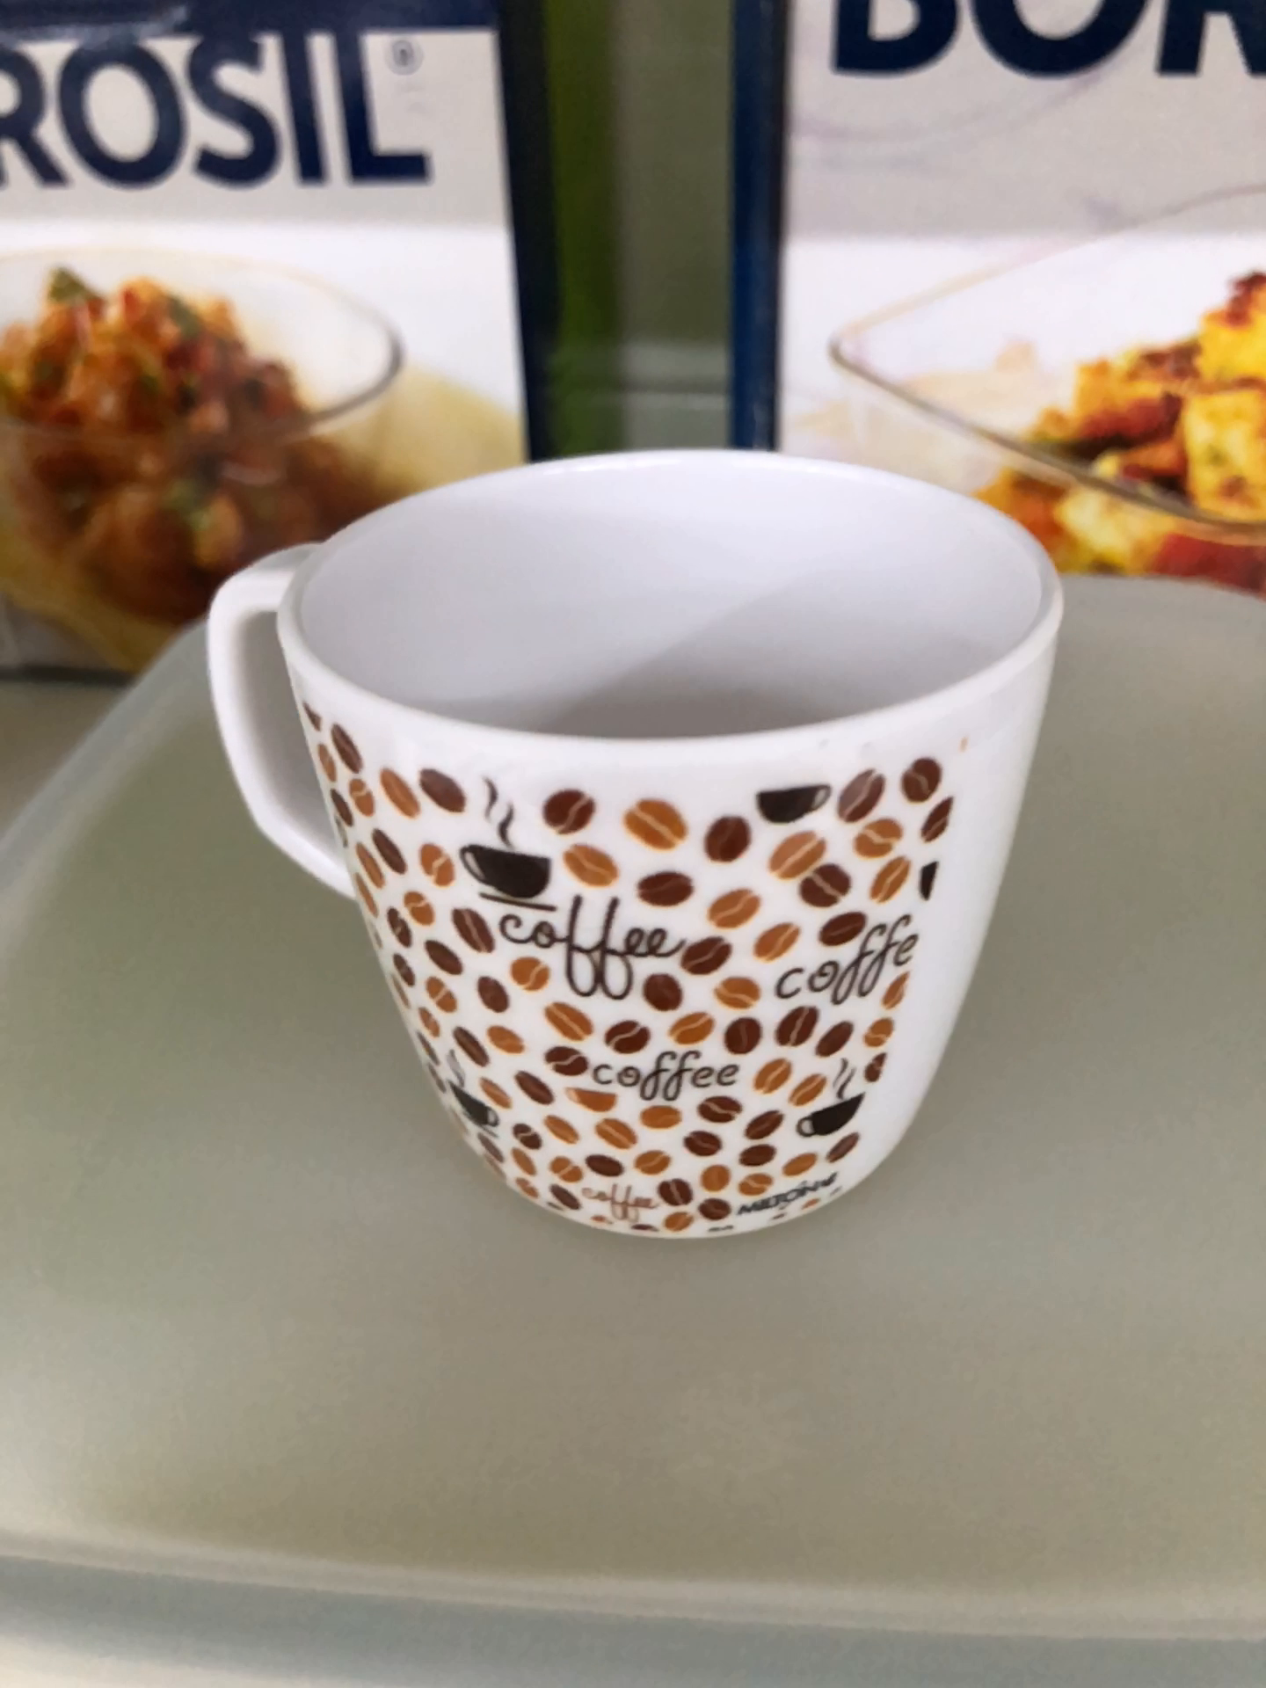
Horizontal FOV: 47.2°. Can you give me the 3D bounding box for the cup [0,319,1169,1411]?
[{"bbox_3d":[-0.007,-0.008,0.120,0.080,0.050,0.060,14,35,23],"label":"cup"}]
